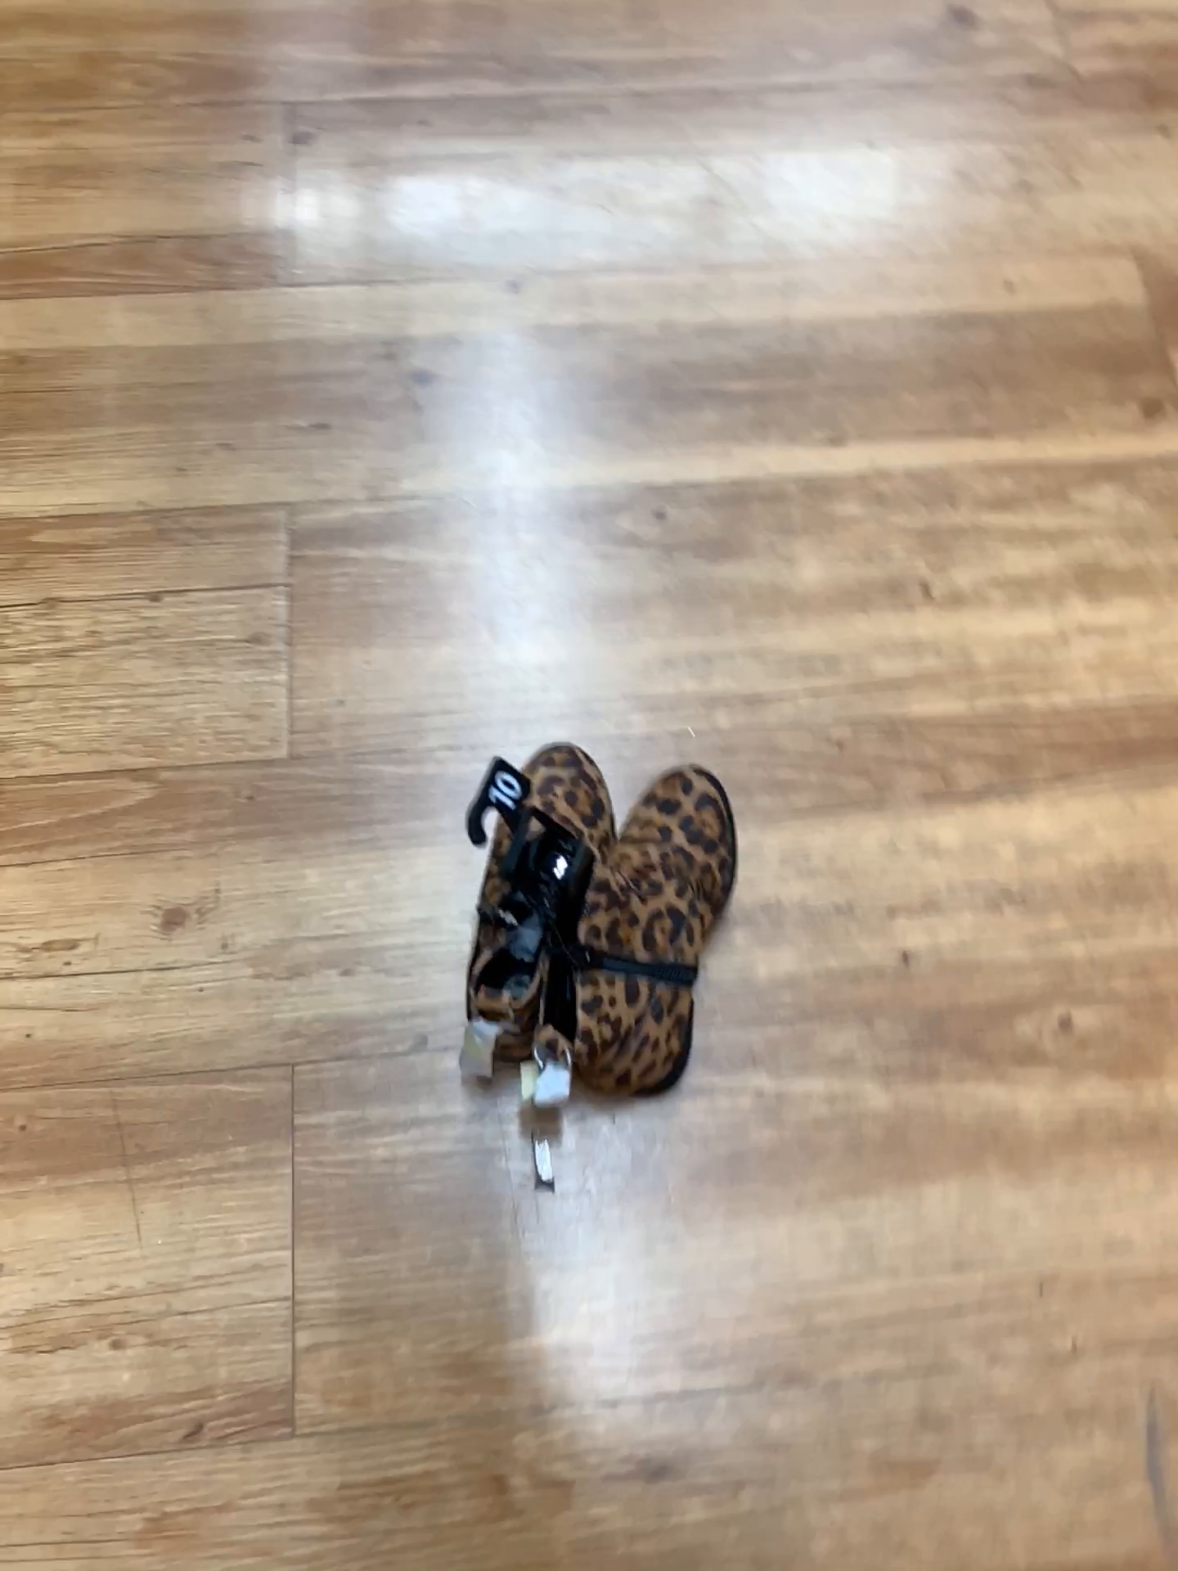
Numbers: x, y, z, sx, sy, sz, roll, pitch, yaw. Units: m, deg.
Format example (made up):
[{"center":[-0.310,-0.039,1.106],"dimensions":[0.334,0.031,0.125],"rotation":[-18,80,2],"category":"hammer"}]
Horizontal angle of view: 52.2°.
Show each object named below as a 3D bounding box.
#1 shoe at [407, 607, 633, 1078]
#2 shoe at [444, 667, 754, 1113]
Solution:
[{"center":[-0.029,0.031,0.577],"dimensions":[0.070,0.120,0.190],"rotation":[8,68,1],"category":"shoe"},{"center":[0.013,0.052,0.587],"dimensions":[0.070,0.120,0.180],"rotation":[0,65,30],"category":"shoe"}]
